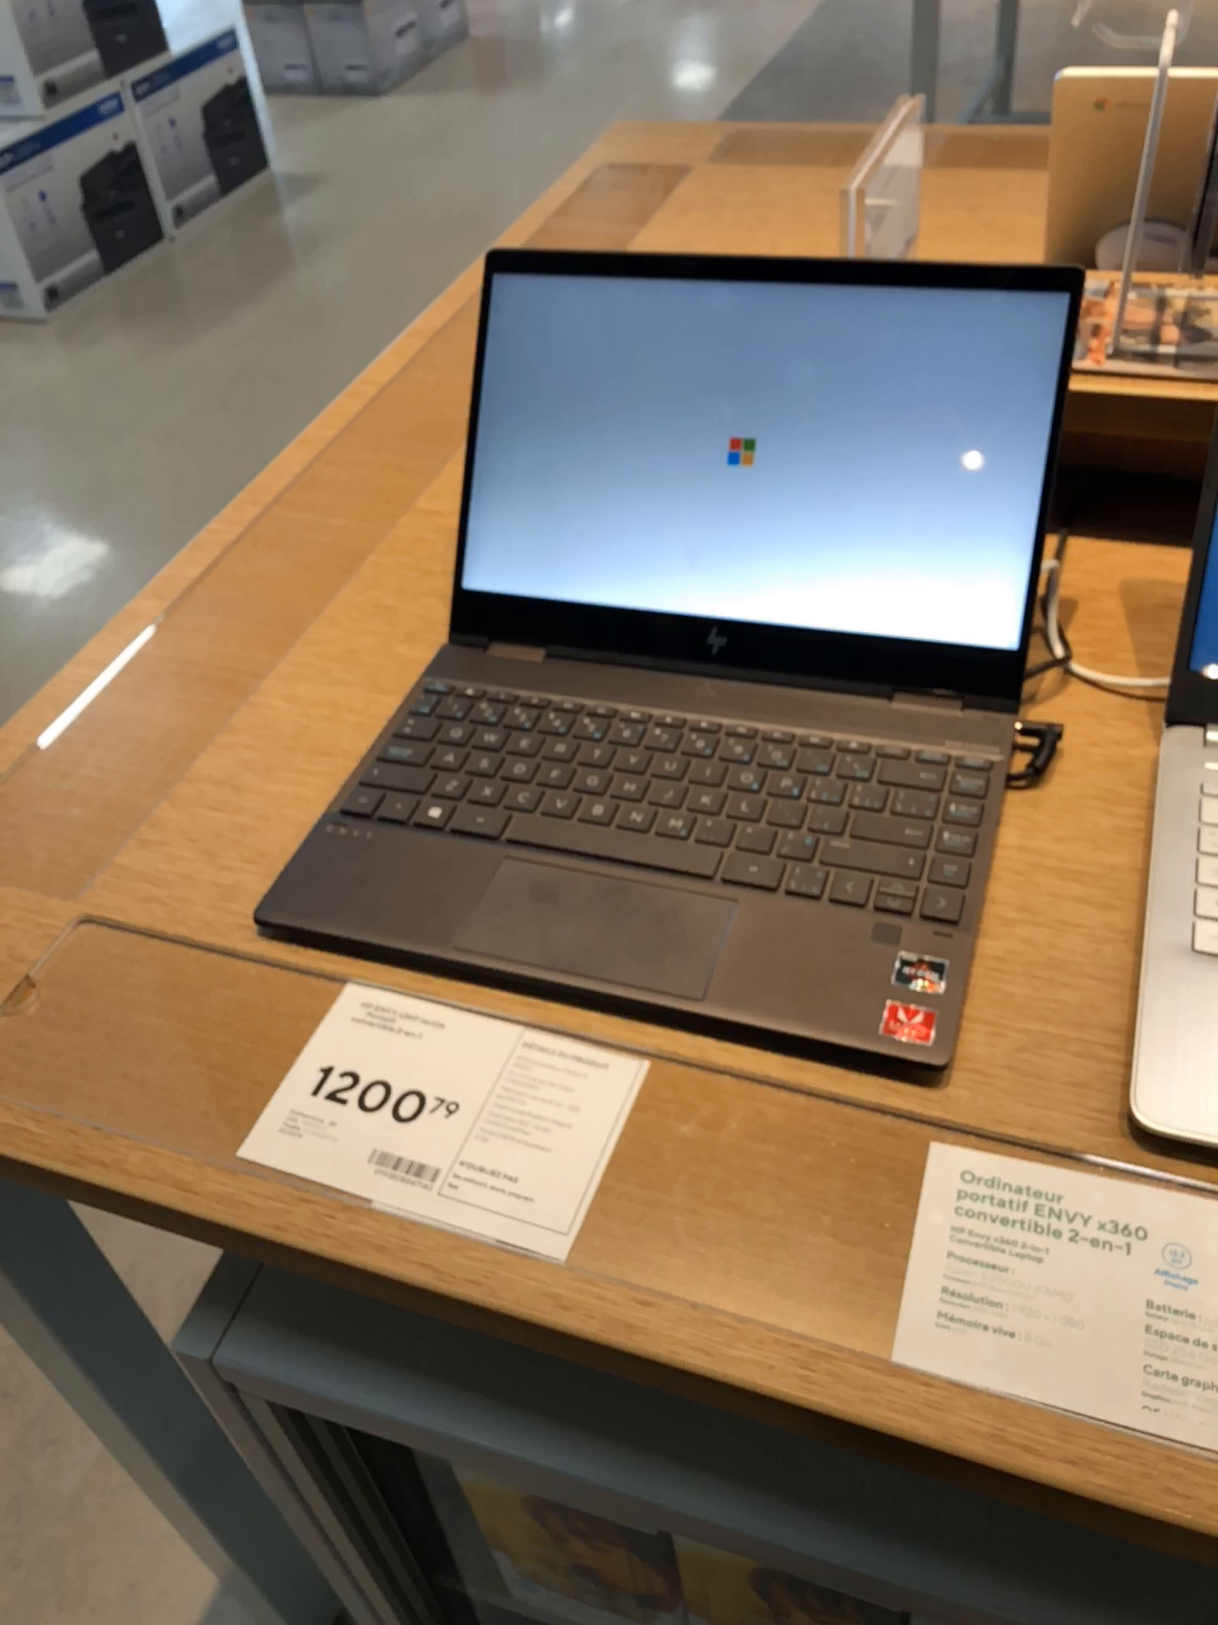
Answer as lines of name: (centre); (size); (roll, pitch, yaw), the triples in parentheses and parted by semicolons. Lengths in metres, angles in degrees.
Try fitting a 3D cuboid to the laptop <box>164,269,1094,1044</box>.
laptop: (0.037, -0.098, 0.609); (0.293, 0.162, 0.319); (9, 45, 18)
